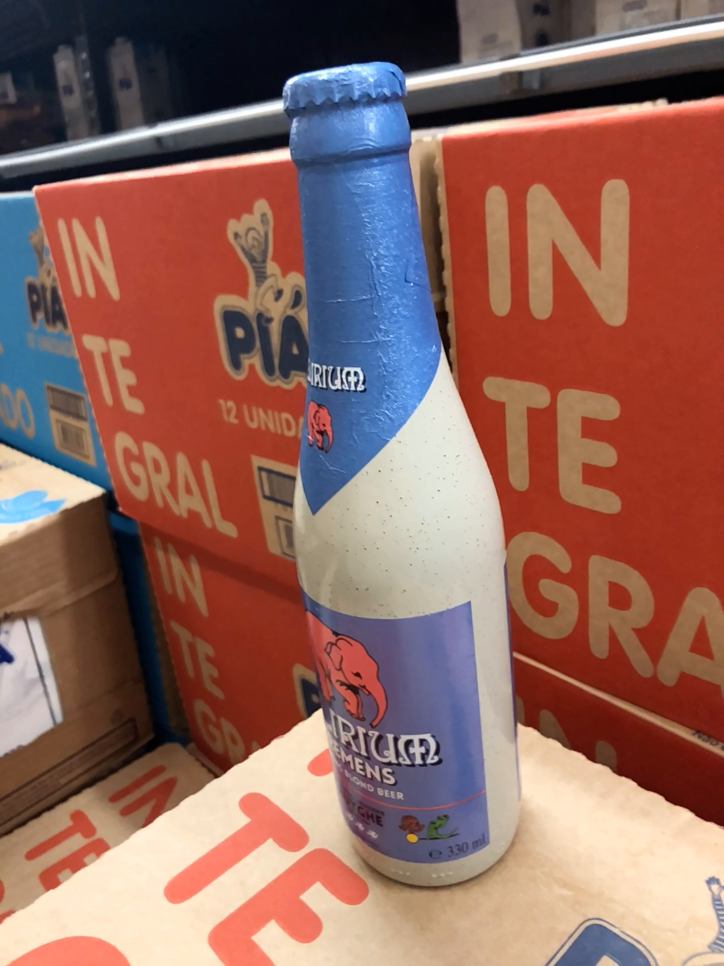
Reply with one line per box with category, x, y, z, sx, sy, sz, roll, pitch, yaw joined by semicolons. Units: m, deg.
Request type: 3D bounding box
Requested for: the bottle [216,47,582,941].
bottle;0.016;0.007;0.224;0.060;0.219;0.060;-4;20;2
